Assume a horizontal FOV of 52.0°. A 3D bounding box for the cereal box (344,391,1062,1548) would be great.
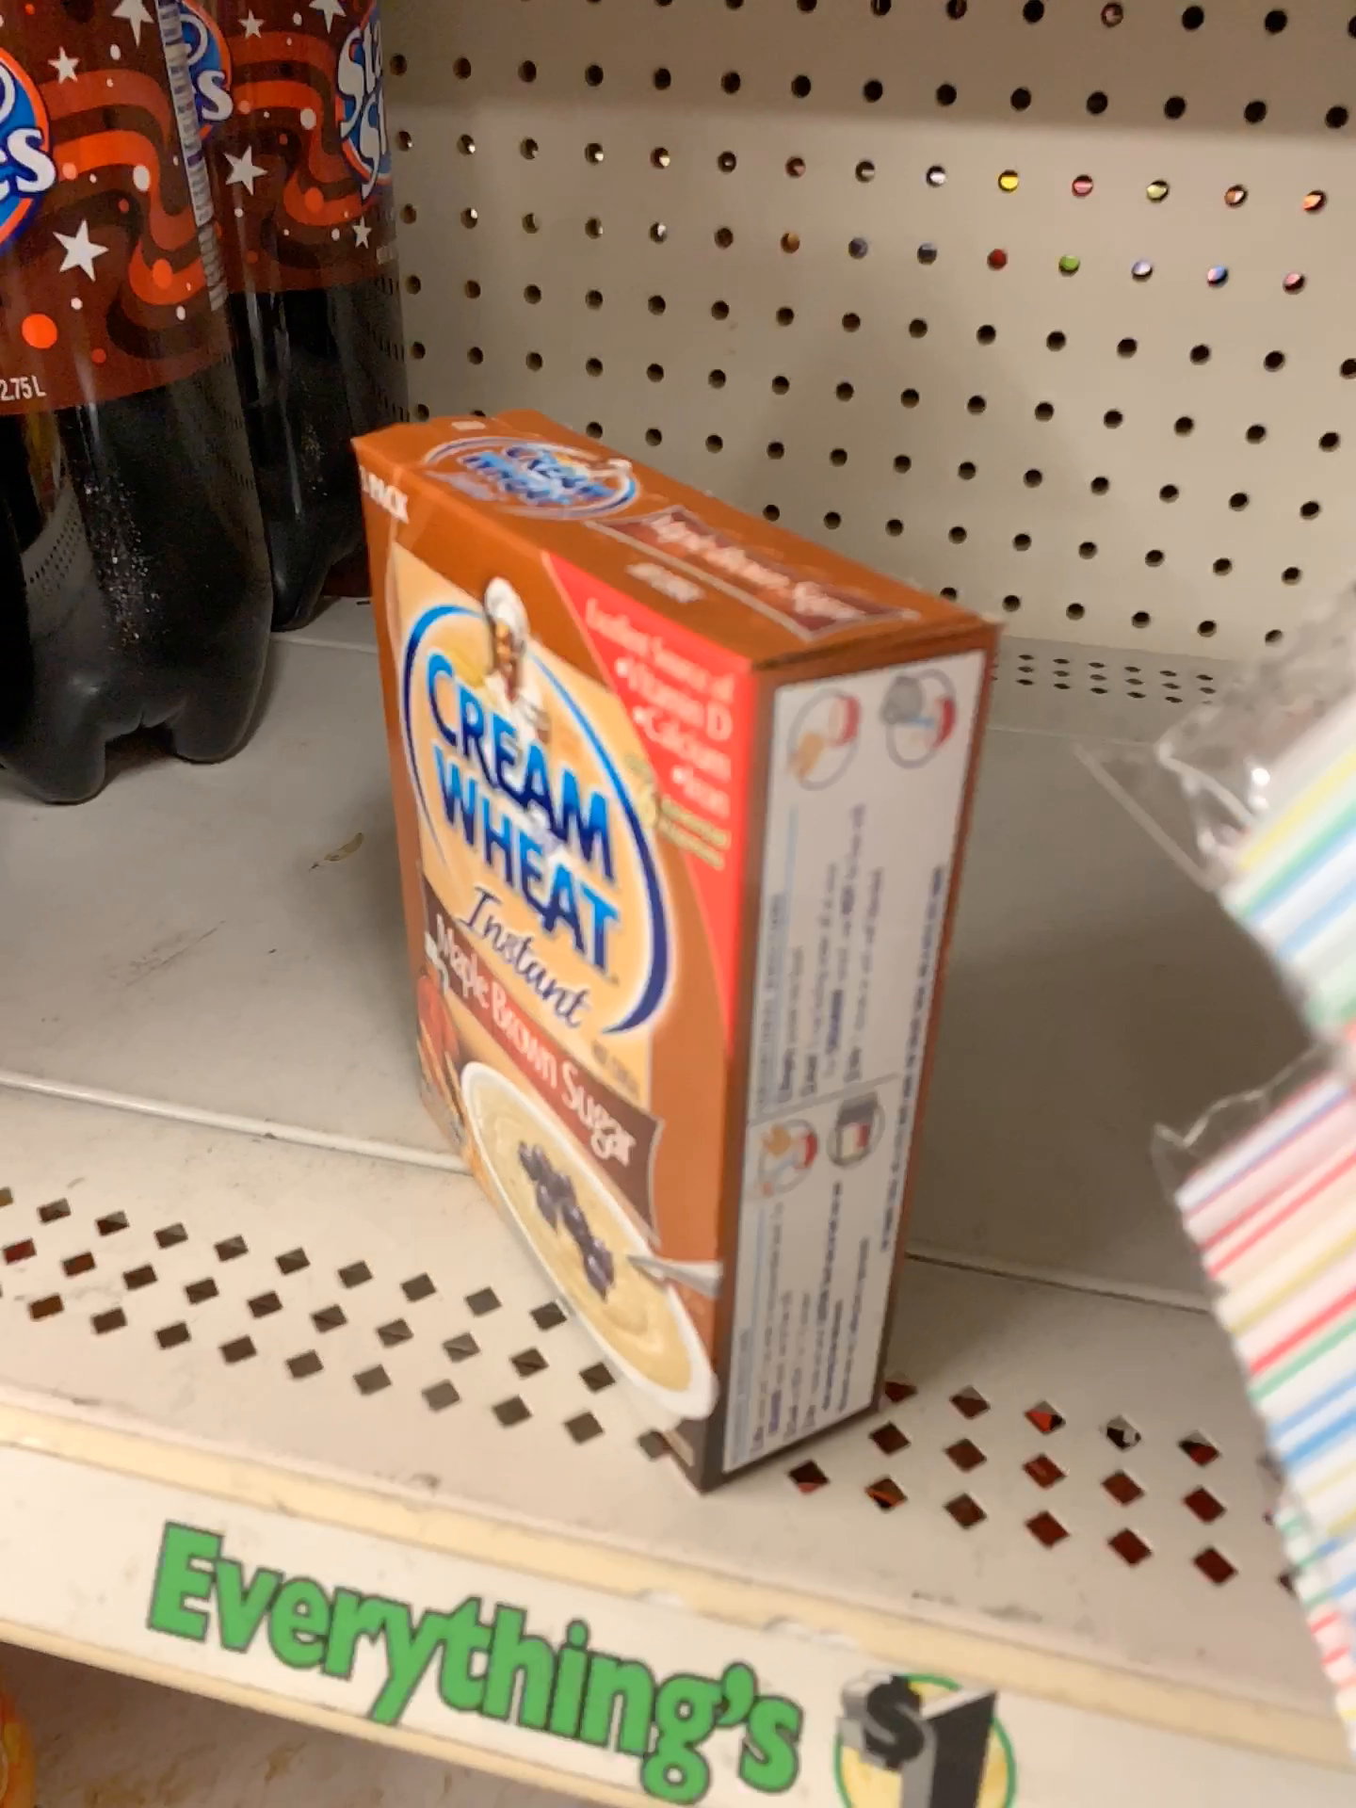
[{"bbox_3d":[-0.007,0.006,0.234,0.040,0.149,0.120,-18,38,-28],"label":"cereal box"}]
